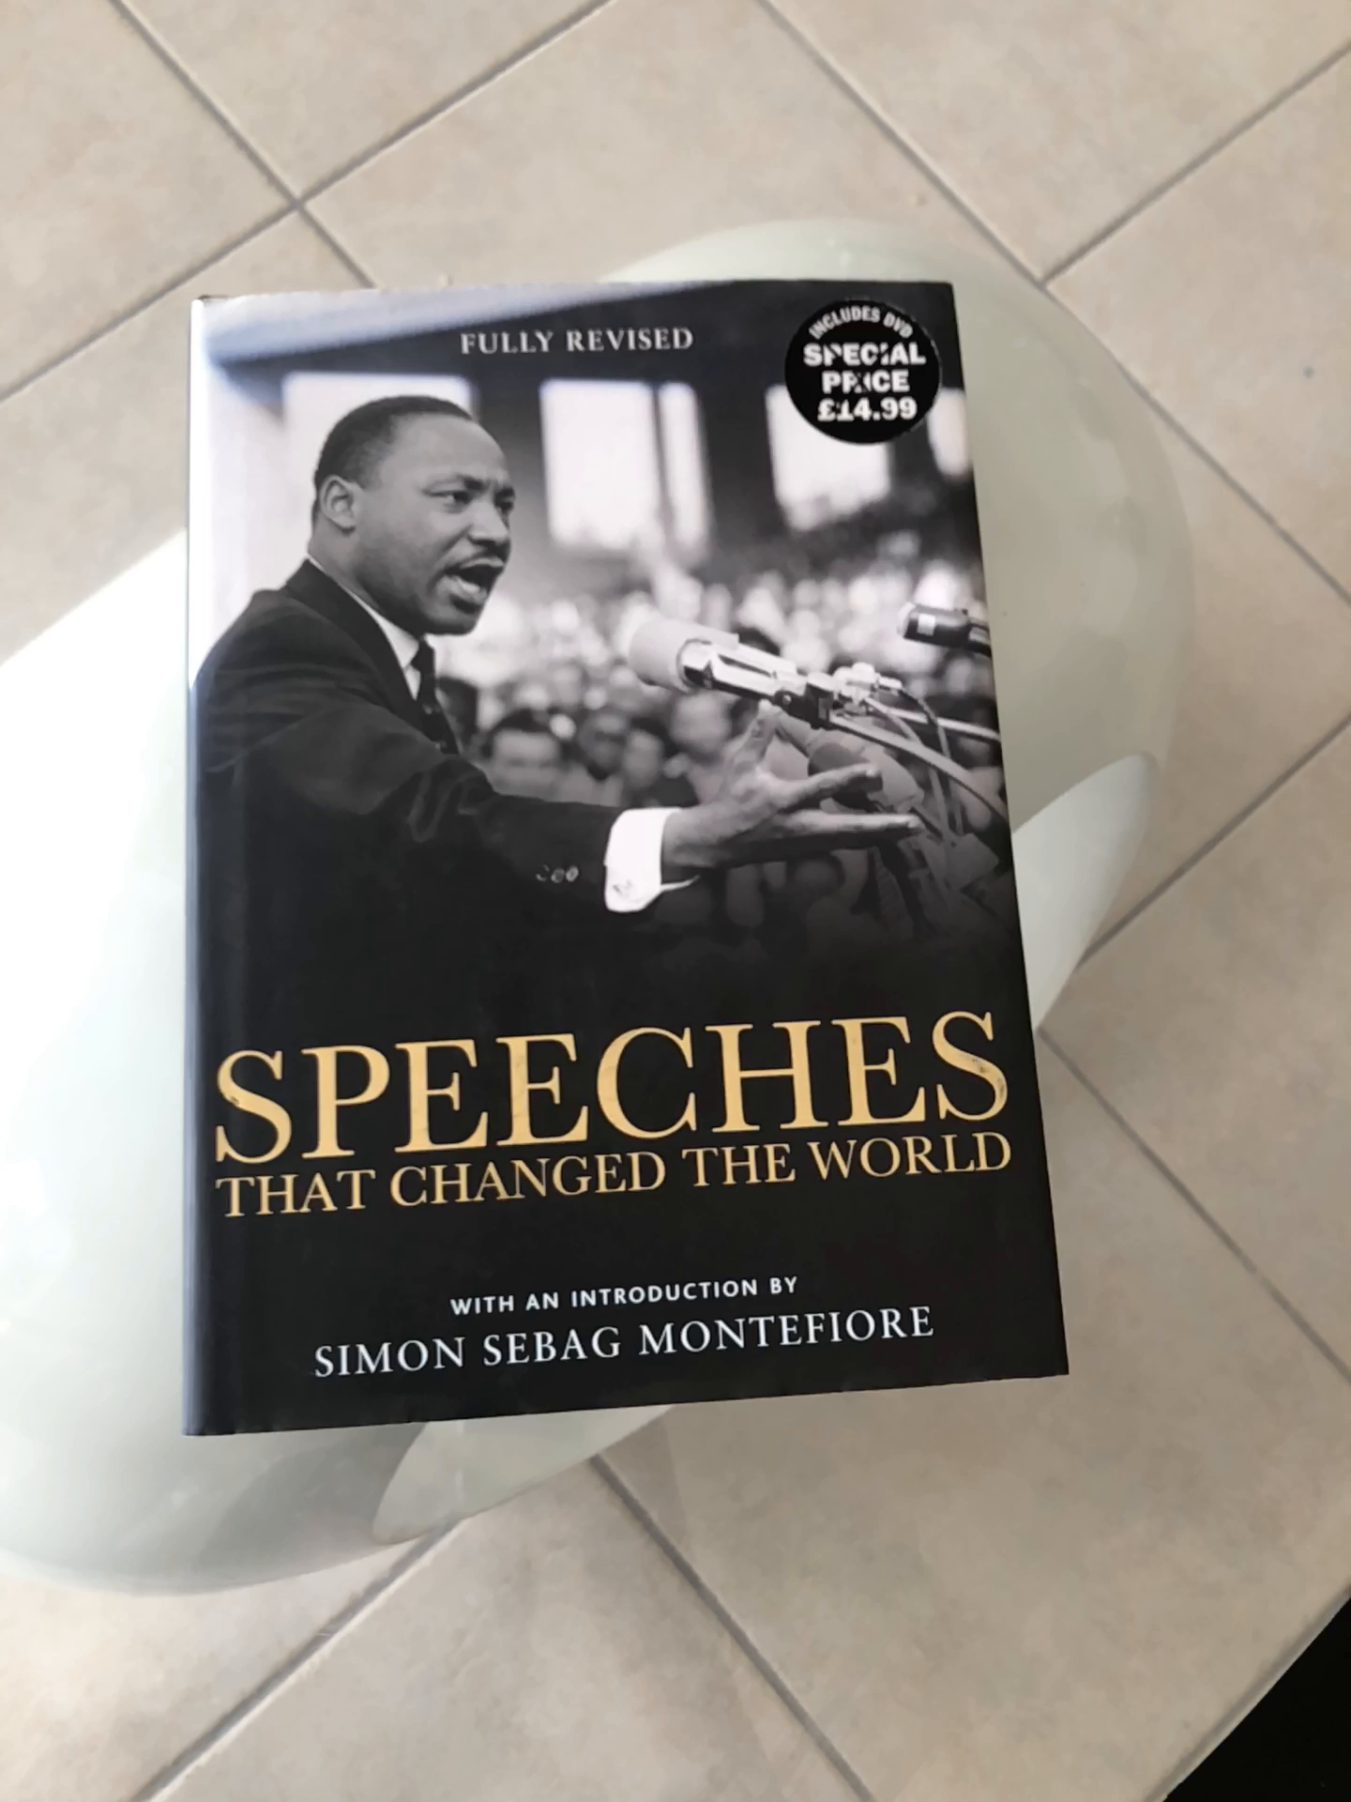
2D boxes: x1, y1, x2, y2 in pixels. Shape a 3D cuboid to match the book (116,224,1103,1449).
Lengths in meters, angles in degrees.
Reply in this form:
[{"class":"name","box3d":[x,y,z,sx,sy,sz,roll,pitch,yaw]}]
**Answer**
[{"class":"book","box3d":[-0.021,-0.027,0.371,0.210,0.040,0.290,-3,77,-4]}]
